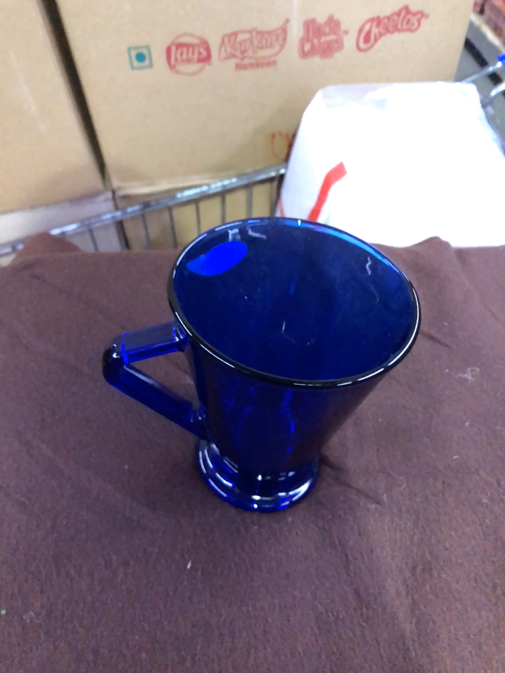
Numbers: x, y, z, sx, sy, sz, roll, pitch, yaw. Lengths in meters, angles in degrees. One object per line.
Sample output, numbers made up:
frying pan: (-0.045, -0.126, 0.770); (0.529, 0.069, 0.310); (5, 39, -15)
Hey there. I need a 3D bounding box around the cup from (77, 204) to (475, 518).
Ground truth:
cup: (0.002, 0.017, 0.220); (0.110, 0.109, 0.070); (1, 54, -6)
